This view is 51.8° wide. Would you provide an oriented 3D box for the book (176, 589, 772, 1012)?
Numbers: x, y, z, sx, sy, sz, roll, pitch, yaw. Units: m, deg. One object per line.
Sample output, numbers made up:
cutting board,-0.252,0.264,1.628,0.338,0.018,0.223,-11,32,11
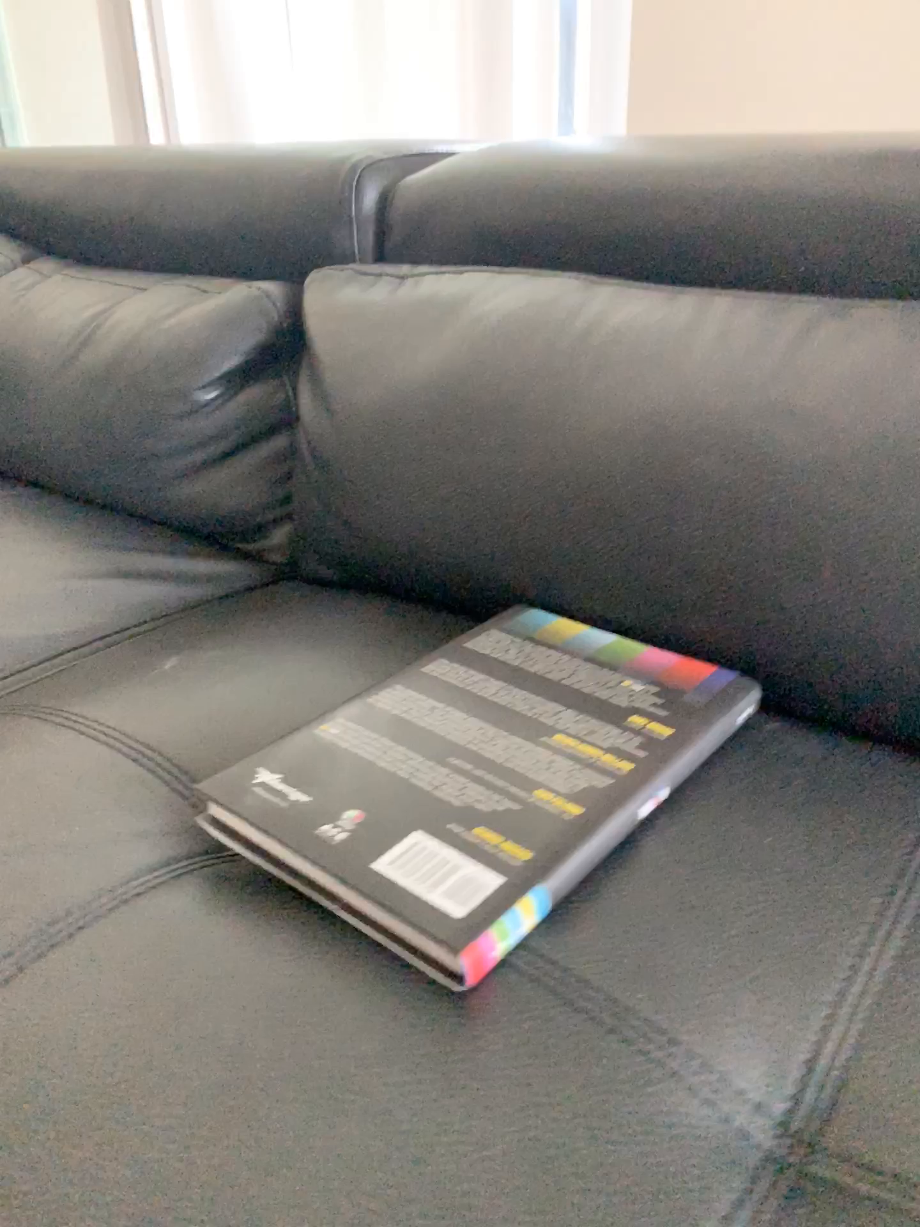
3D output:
book,0.017,0.060,0.442,0.160,0.030,0.237,19,32,37
